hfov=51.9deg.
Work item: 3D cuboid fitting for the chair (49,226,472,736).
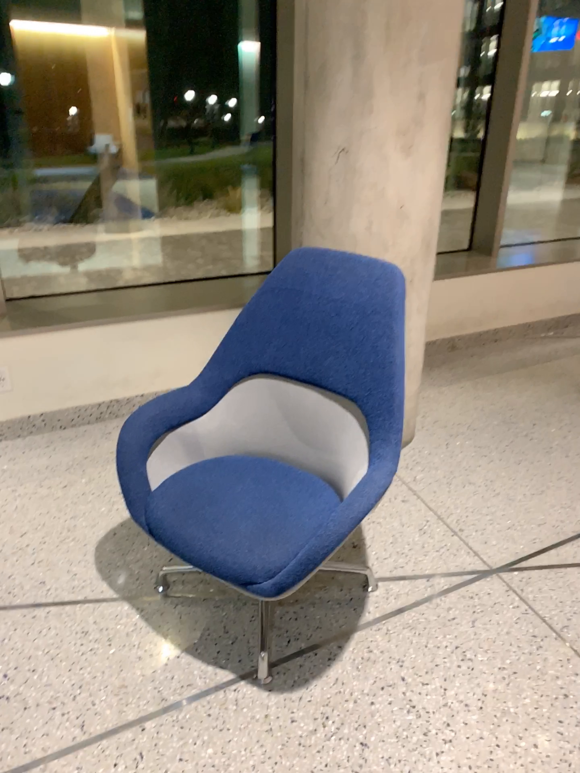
[{"bbox_3d":[-0.080,0.154,1.650,0.817,0.997,0.634,19,29,34],"label":"chair"}]
